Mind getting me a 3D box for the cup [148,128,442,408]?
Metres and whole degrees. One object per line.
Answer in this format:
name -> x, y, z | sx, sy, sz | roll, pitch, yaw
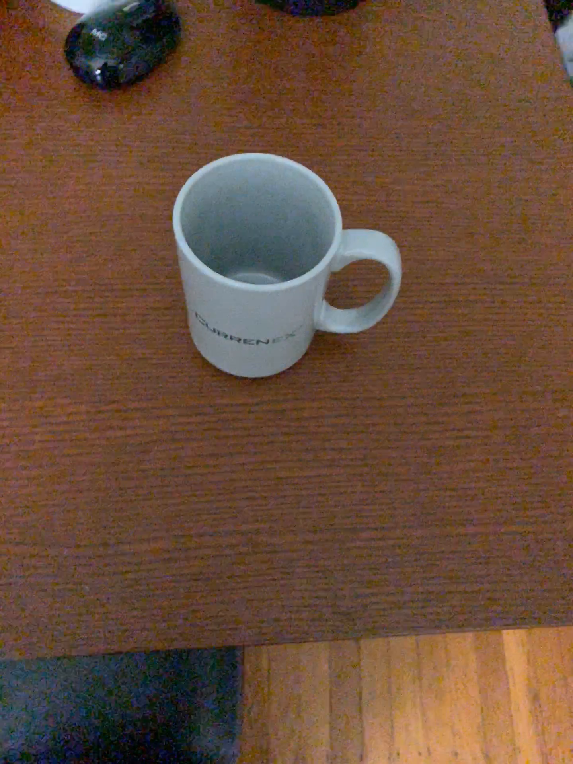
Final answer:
cup -> 0.005, -0.062, 0.360 | 0.140, 0.110, 0.100 | 10, 67, -1
